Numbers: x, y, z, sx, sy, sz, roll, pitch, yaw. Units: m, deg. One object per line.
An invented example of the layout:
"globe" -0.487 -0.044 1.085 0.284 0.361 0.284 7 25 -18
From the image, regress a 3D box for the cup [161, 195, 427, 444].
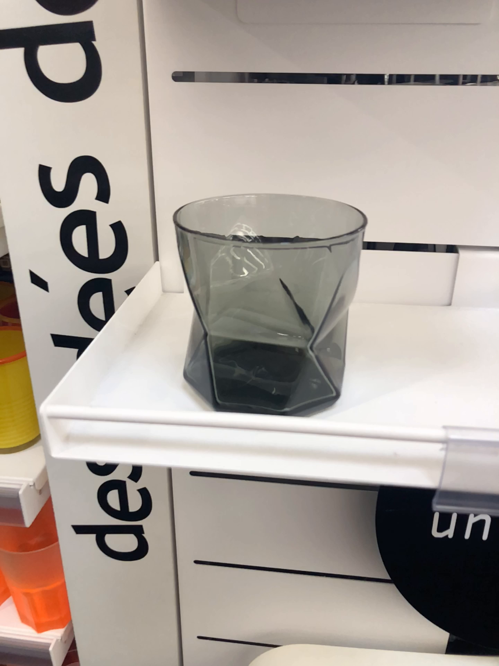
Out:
"cup" 0.012 -0.014 0.259 0.093 0.080 0.089 1 26 -1
